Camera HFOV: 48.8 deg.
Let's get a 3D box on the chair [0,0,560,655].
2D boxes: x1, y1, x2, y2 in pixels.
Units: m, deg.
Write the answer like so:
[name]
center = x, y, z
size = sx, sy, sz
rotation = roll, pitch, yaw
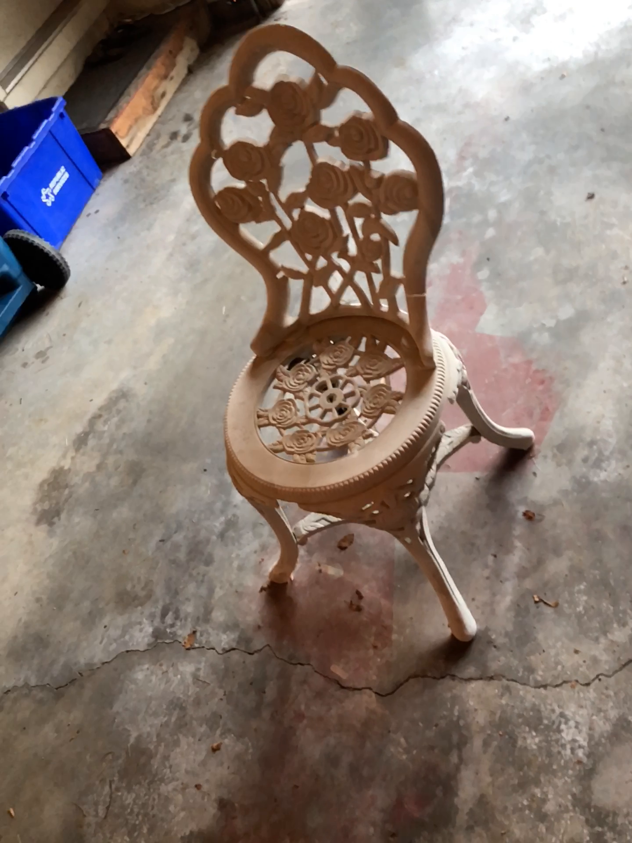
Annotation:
[chair]
center = 0.021, -0.077, 1.117
size = 0.491, 0.898, 0.500
rotation = 7, 60, 32
